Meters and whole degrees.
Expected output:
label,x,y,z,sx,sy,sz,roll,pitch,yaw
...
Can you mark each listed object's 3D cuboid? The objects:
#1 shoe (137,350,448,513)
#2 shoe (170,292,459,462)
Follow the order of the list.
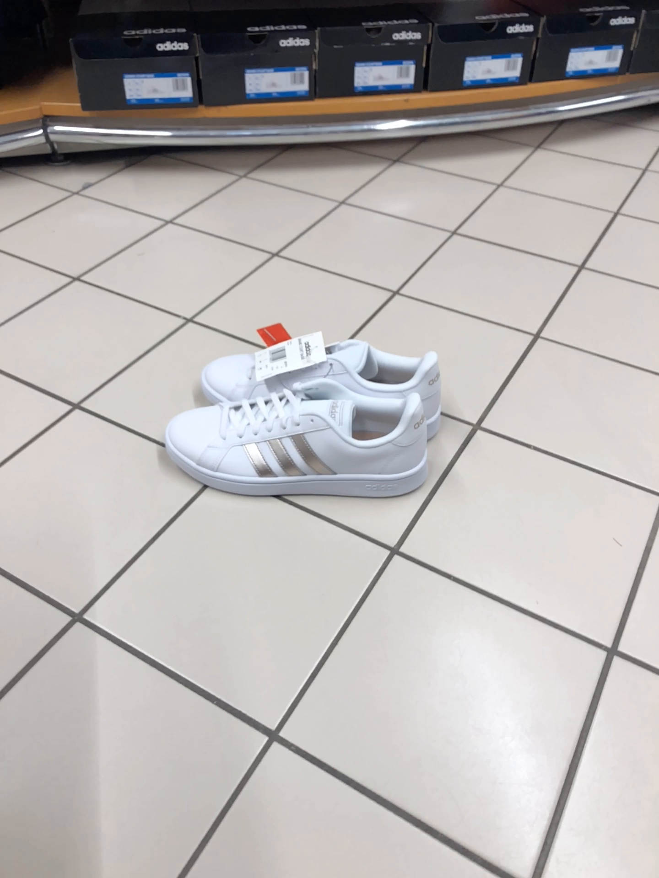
label,x,y,z,sx,sy,sz,roll,pitch,yaw
shoe,-0.030,-0.009,0.719,0.280,0.099,0.101,4,43,4
shoe,-0.013,-0.069,0.779,0.280,0.099,0.101,10,43,9
